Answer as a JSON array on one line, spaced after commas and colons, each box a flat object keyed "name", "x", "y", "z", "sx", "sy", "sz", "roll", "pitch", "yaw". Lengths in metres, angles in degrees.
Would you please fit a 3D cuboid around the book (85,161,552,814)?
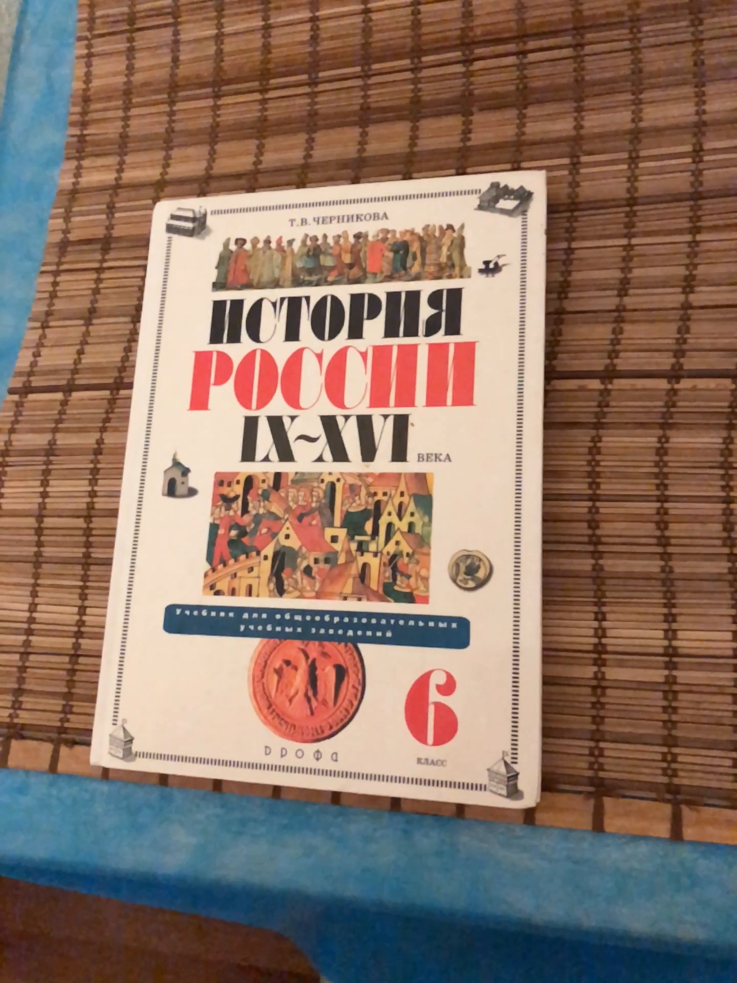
[{"name": "book", "x": -0.015, "y": -0.009, "z": 0.327, "sx": 0.170, "sy": 0.029, "sz": 0.240, "roll": 0, "pitch": 78, "yaw": 15}]
